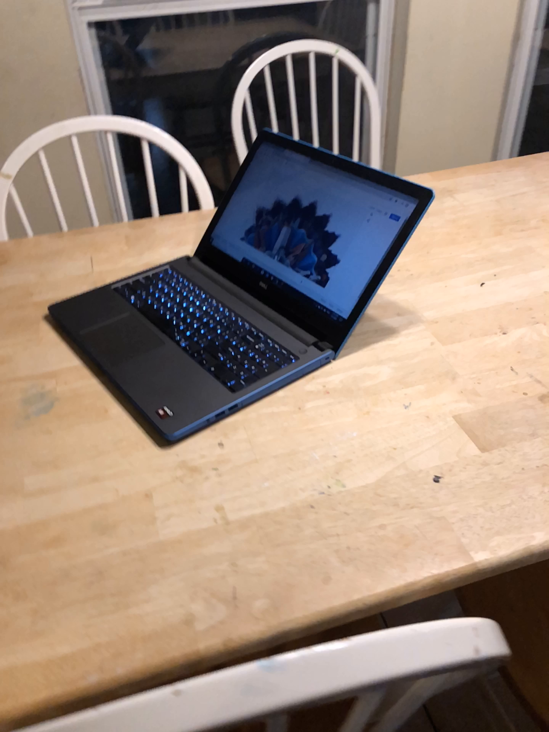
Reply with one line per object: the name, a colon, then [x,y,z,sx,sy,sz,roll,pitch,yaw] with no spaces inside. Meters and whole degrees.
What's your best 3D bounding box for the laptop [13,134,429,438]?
laptop: [-0.074,-0.155,0.846,0.419,0.174,0.368,-26,43,-28]
